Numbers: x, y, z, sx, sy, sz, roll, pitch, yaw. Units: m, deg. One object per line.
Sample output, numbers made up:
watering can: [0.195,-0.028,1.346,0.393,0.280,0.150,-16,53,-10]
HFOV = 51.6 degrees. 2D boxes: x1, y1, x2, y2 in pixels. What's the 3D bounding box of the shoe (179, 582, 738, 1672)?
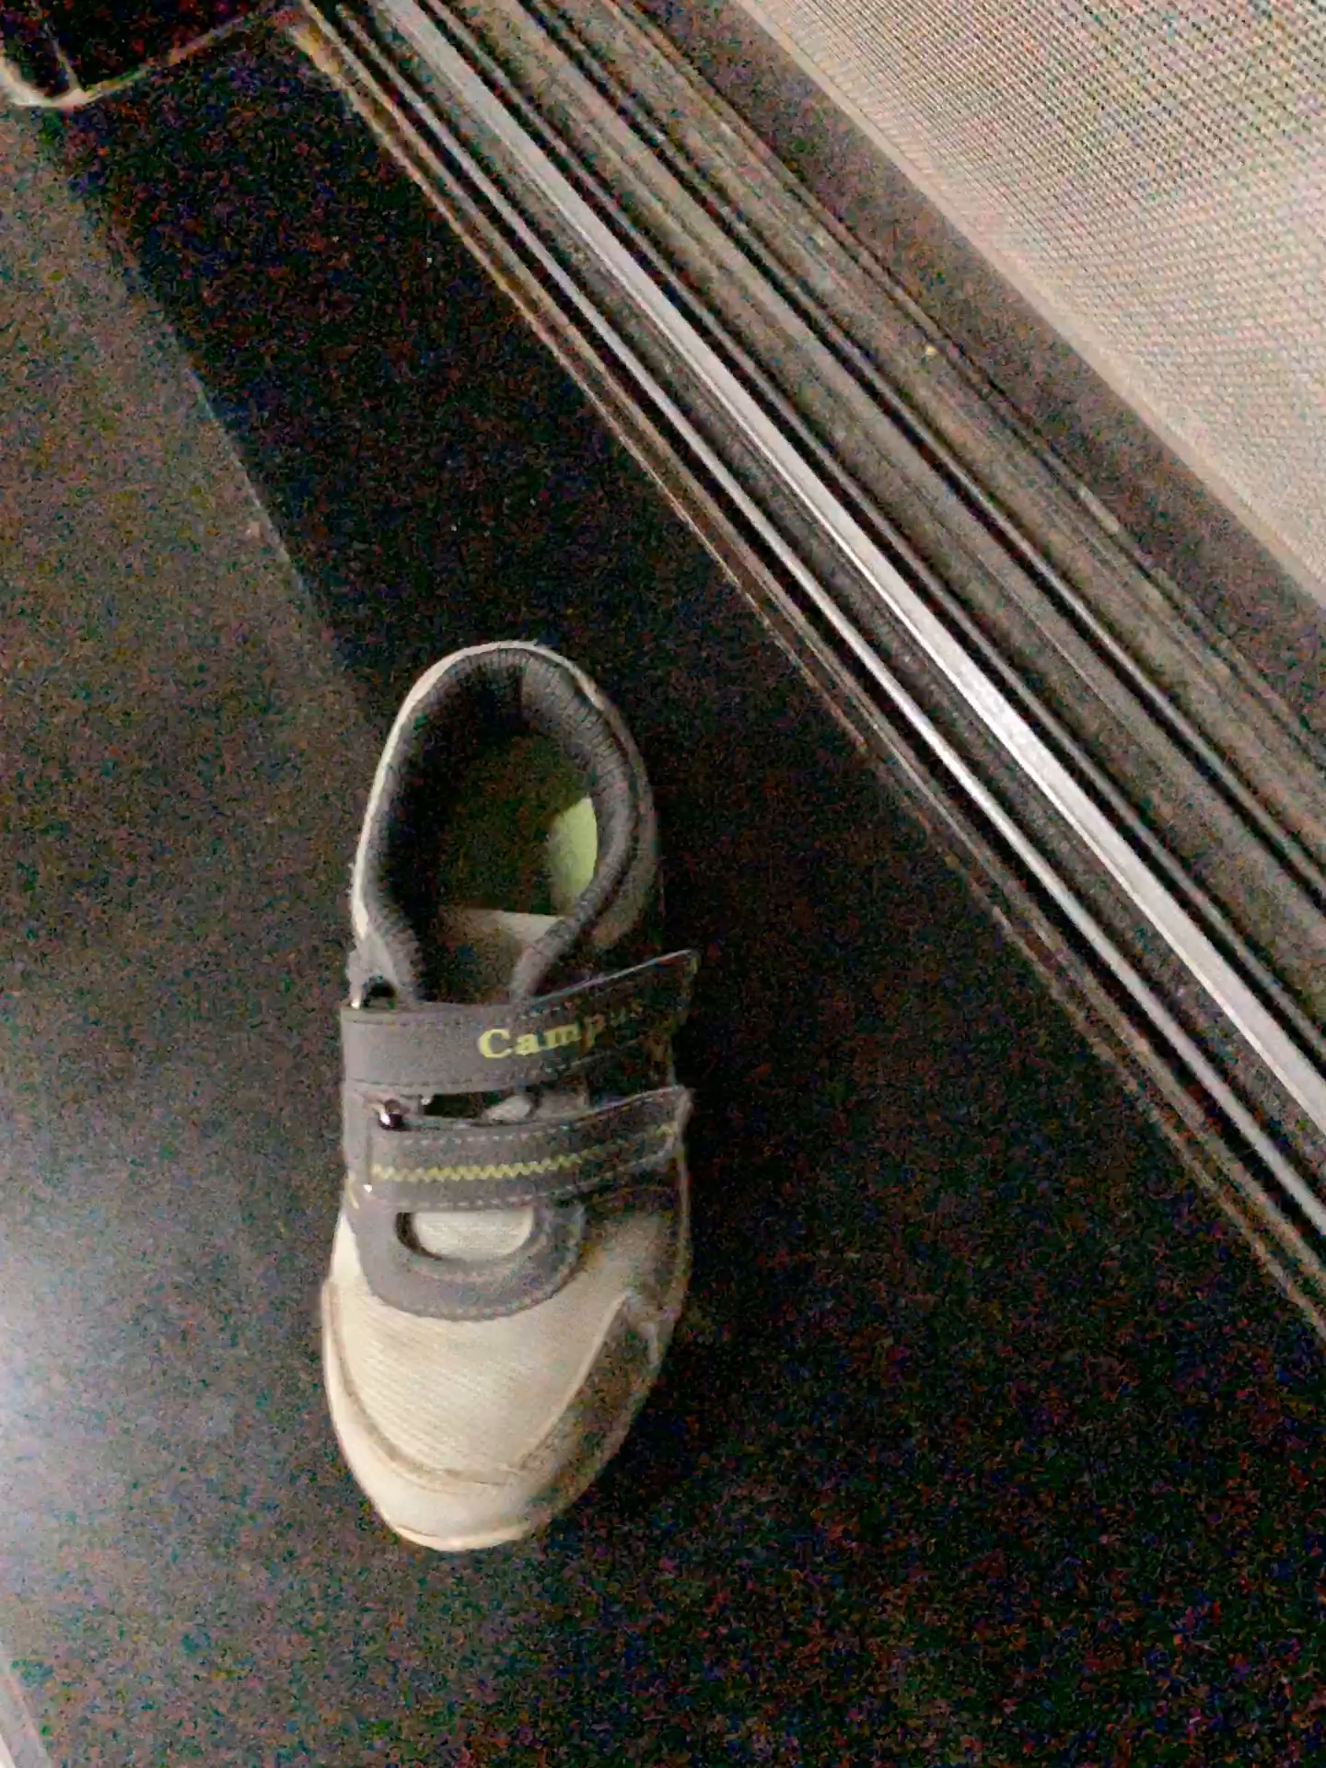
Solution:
shoe: [-0.036,0.049,0.337,0.090,0.080,0.231,4,71,5]
